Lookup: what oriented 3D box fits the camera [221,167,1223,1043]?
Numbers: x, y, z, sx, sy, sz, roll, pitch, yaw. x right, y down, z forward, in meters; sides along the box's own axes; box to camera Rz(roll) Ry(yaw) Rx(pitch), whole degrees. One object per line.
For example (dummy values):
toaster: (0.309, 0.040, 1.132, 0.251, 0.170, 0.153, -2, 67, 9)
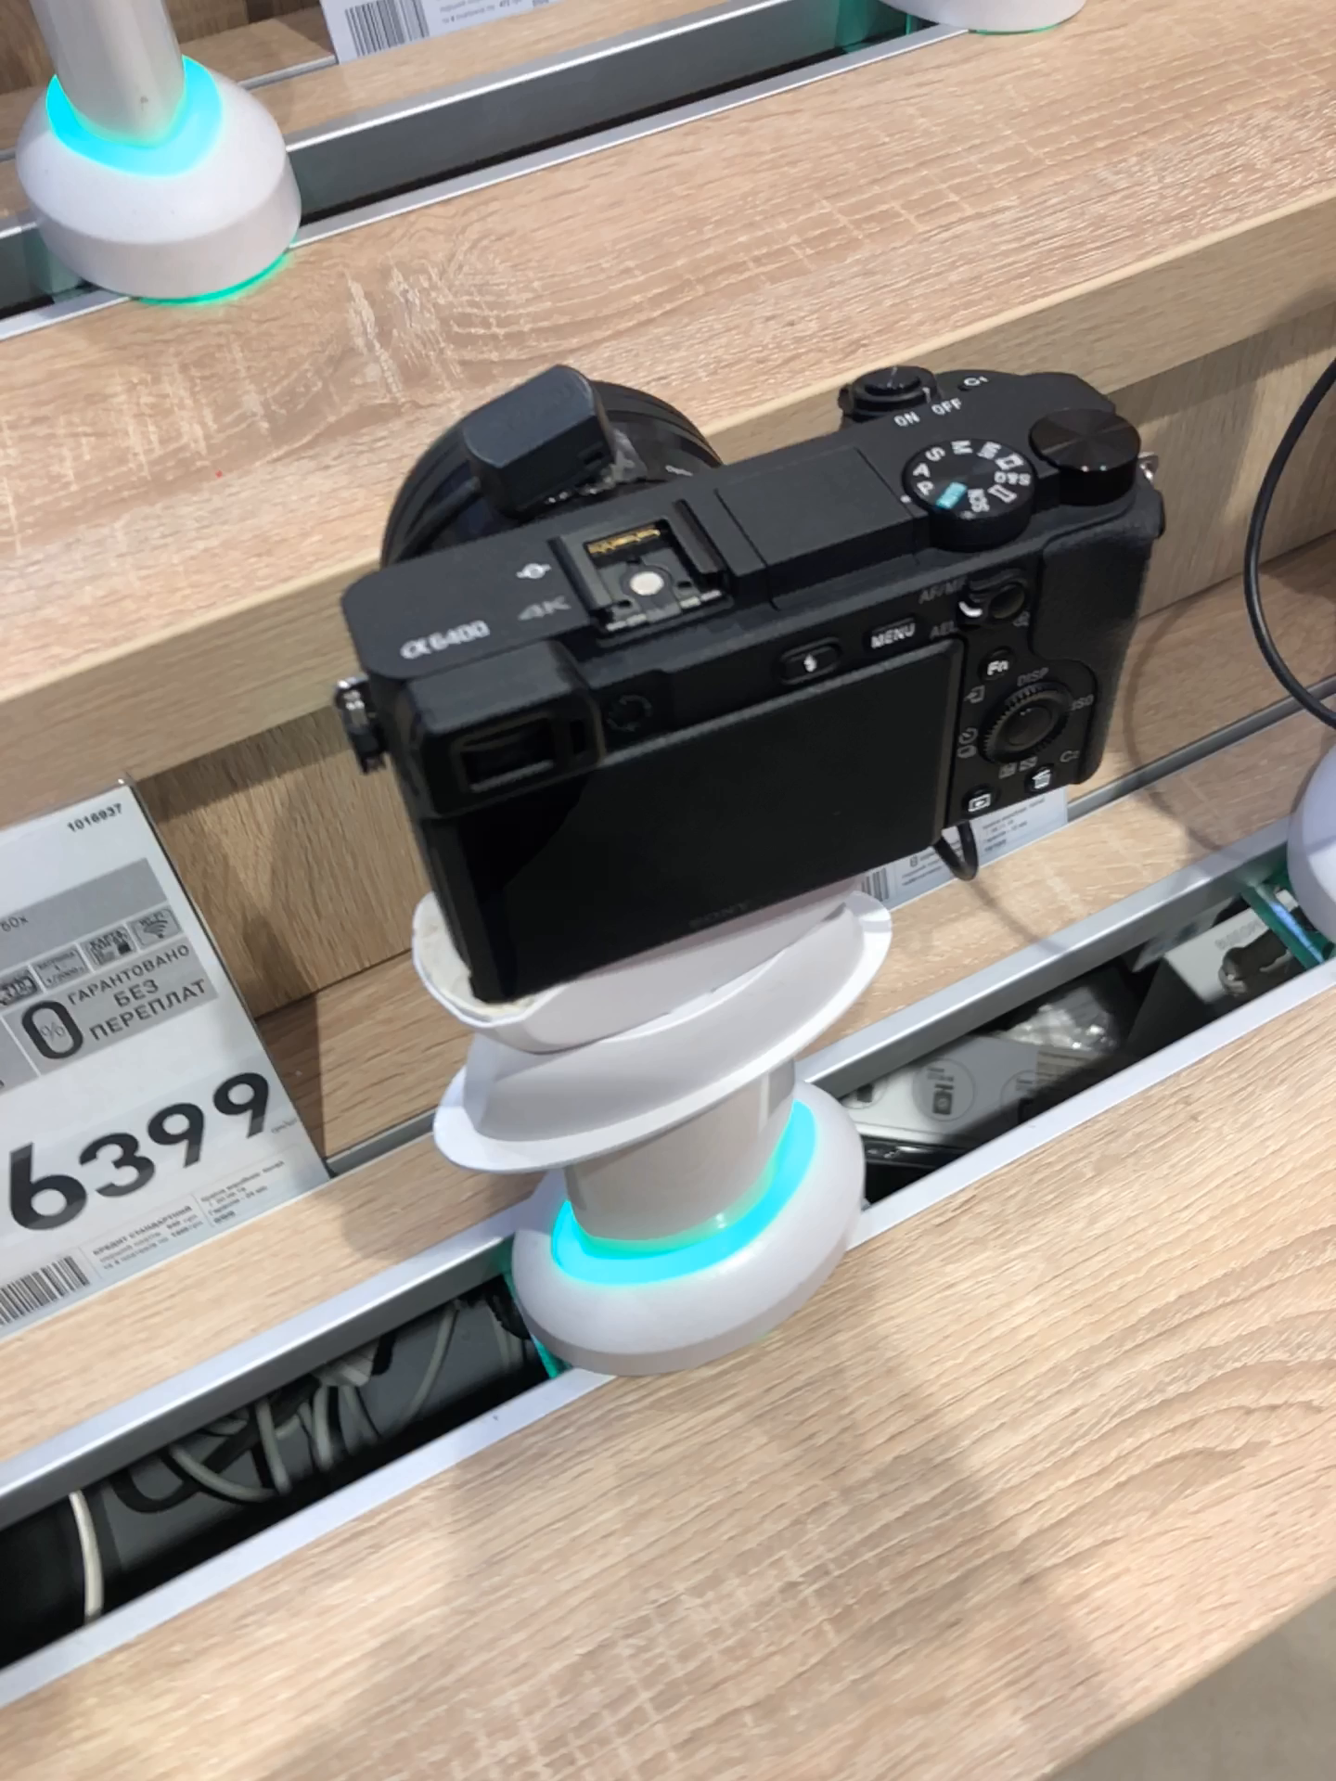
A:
camera: (0.004, -0.052, 0.250, 0.122, 0.069, 0.098, -20, 53, -11)
